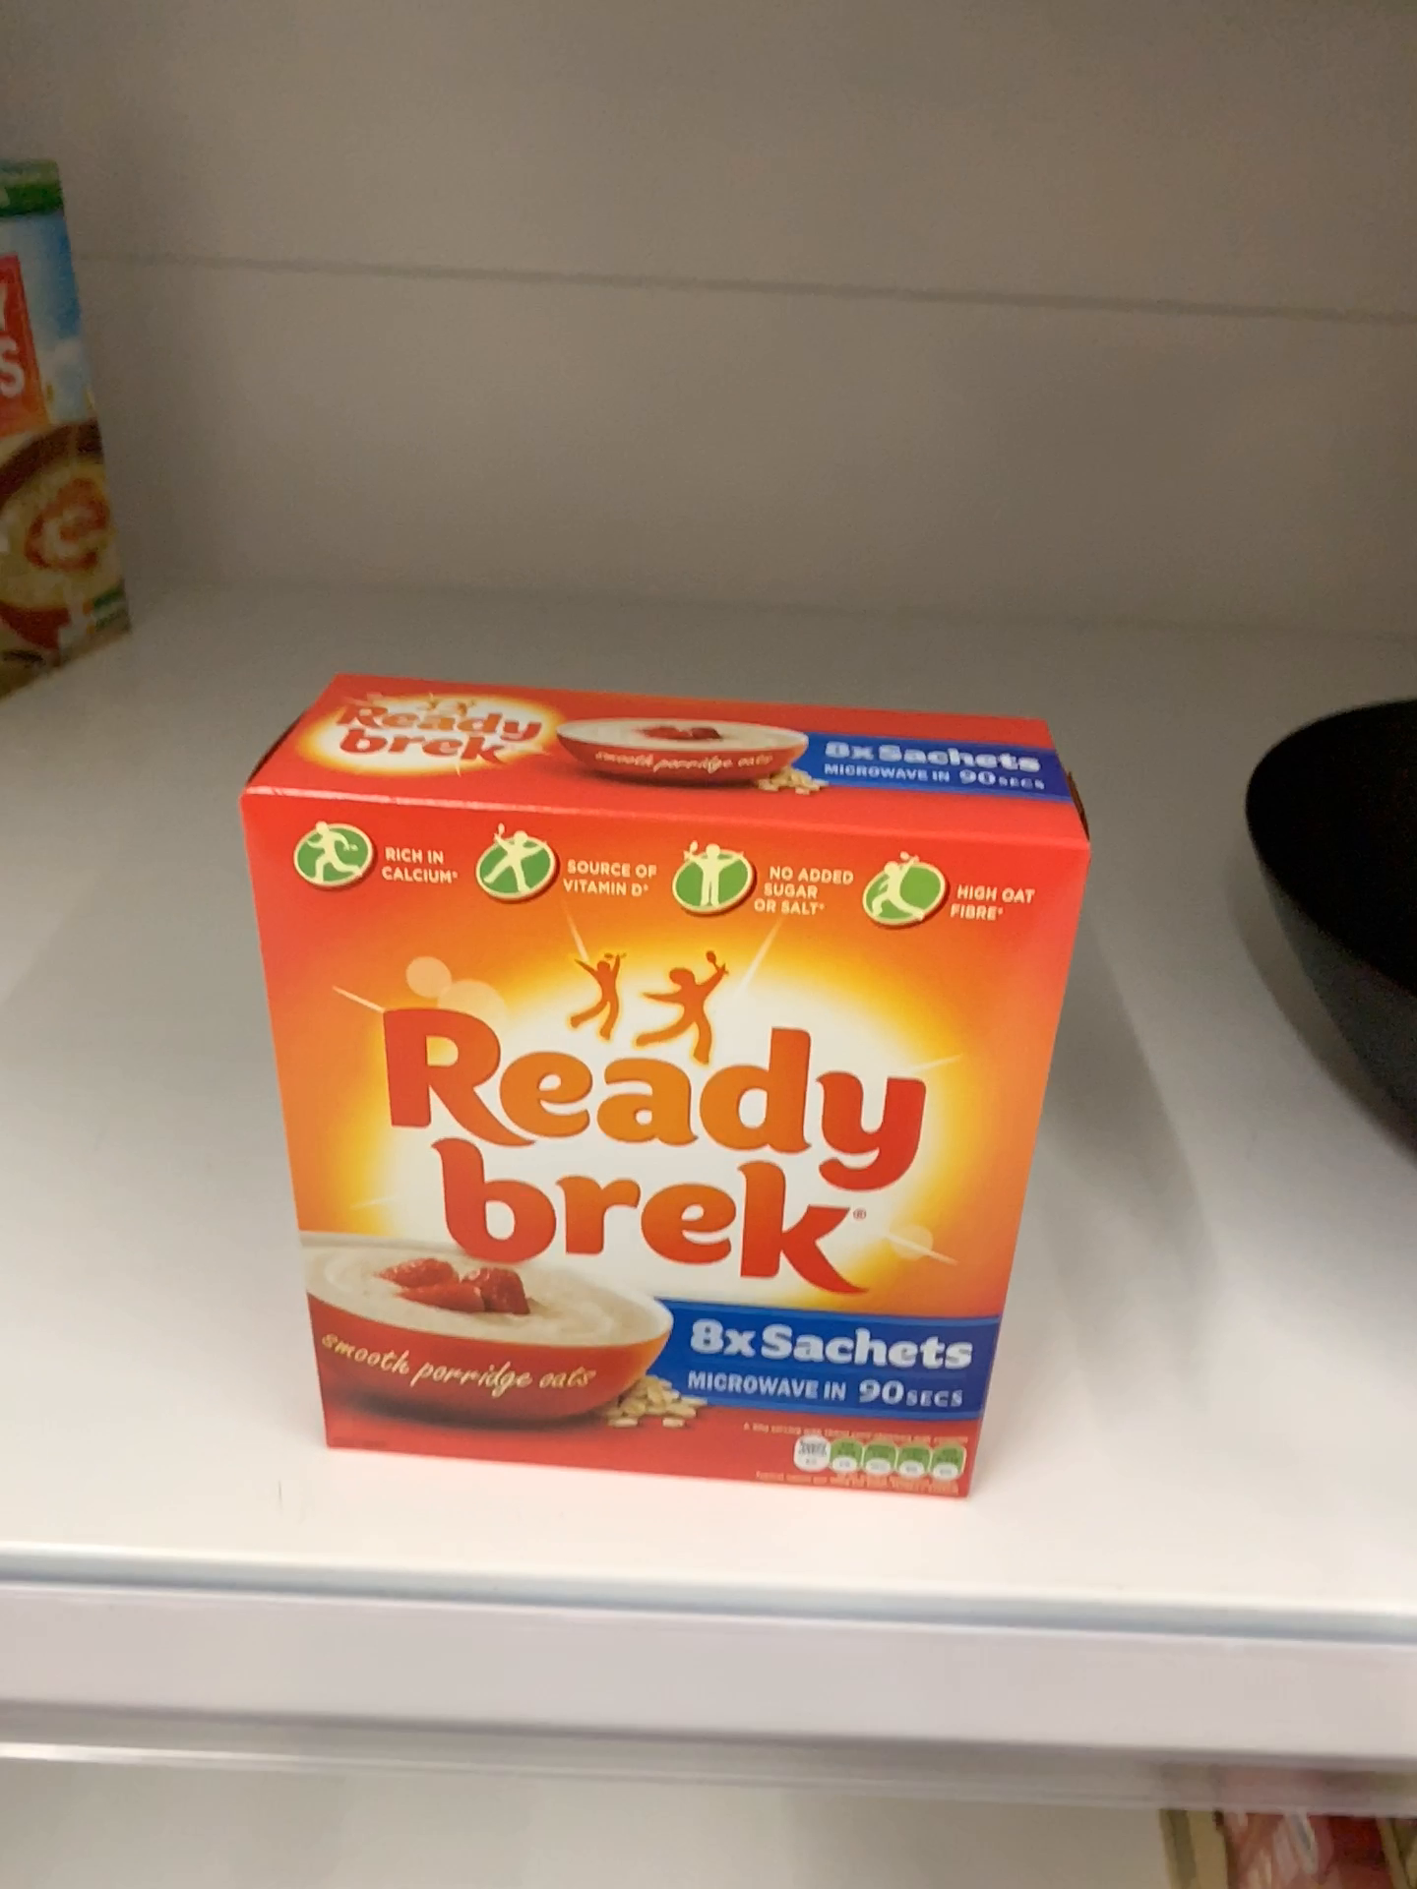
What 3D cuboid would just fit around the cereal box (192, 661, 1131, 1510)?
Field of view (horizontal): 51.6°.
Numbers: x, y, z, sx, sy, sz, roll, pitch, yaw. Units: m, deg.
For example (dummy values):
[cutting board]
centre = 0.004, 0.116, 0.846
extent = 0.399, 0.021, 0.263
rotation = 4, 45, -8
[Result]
[cereal box]
centre = -0.012, 0.039, 0.358
extent = 0.180, 0.188, 0.071
rotation = 4, 31, 2
